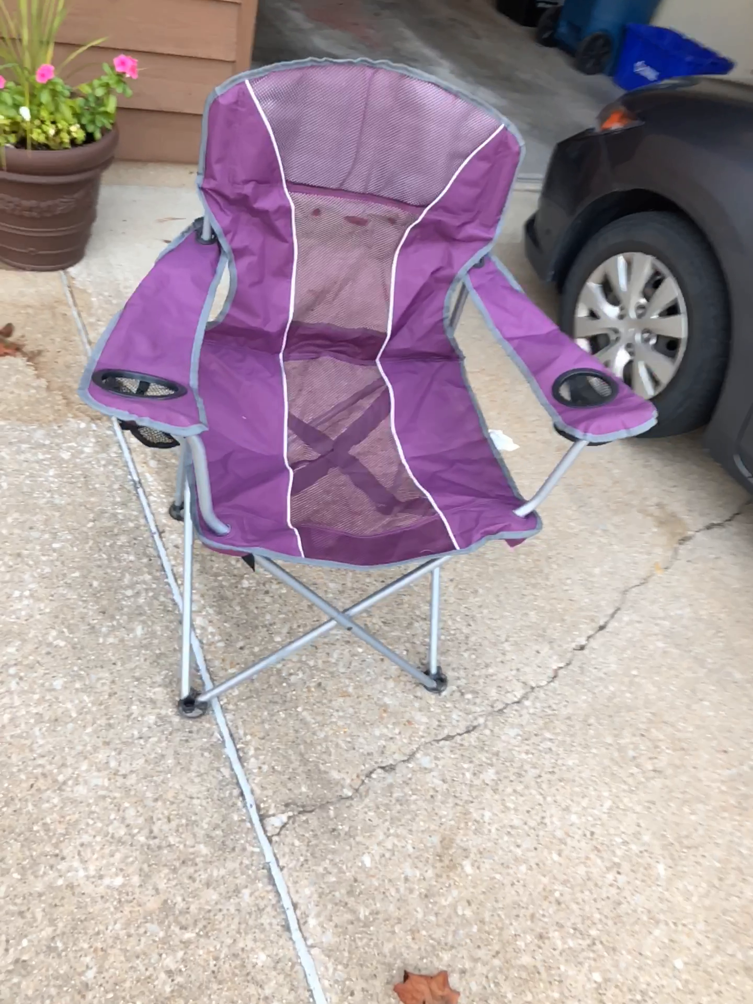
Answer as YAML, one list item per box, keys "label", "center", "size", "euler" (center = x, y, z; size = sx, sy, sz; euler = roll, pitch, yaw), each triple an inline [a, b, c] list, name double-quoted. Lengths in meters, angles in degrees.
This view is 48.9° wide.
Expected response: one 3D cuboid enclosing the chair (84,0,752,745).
- label: "chair"
  center: [-0.074, -0.191, 1.379]
  size: [0.761, 0.878, 0.711]
  euler: [-1, 44, -20]
